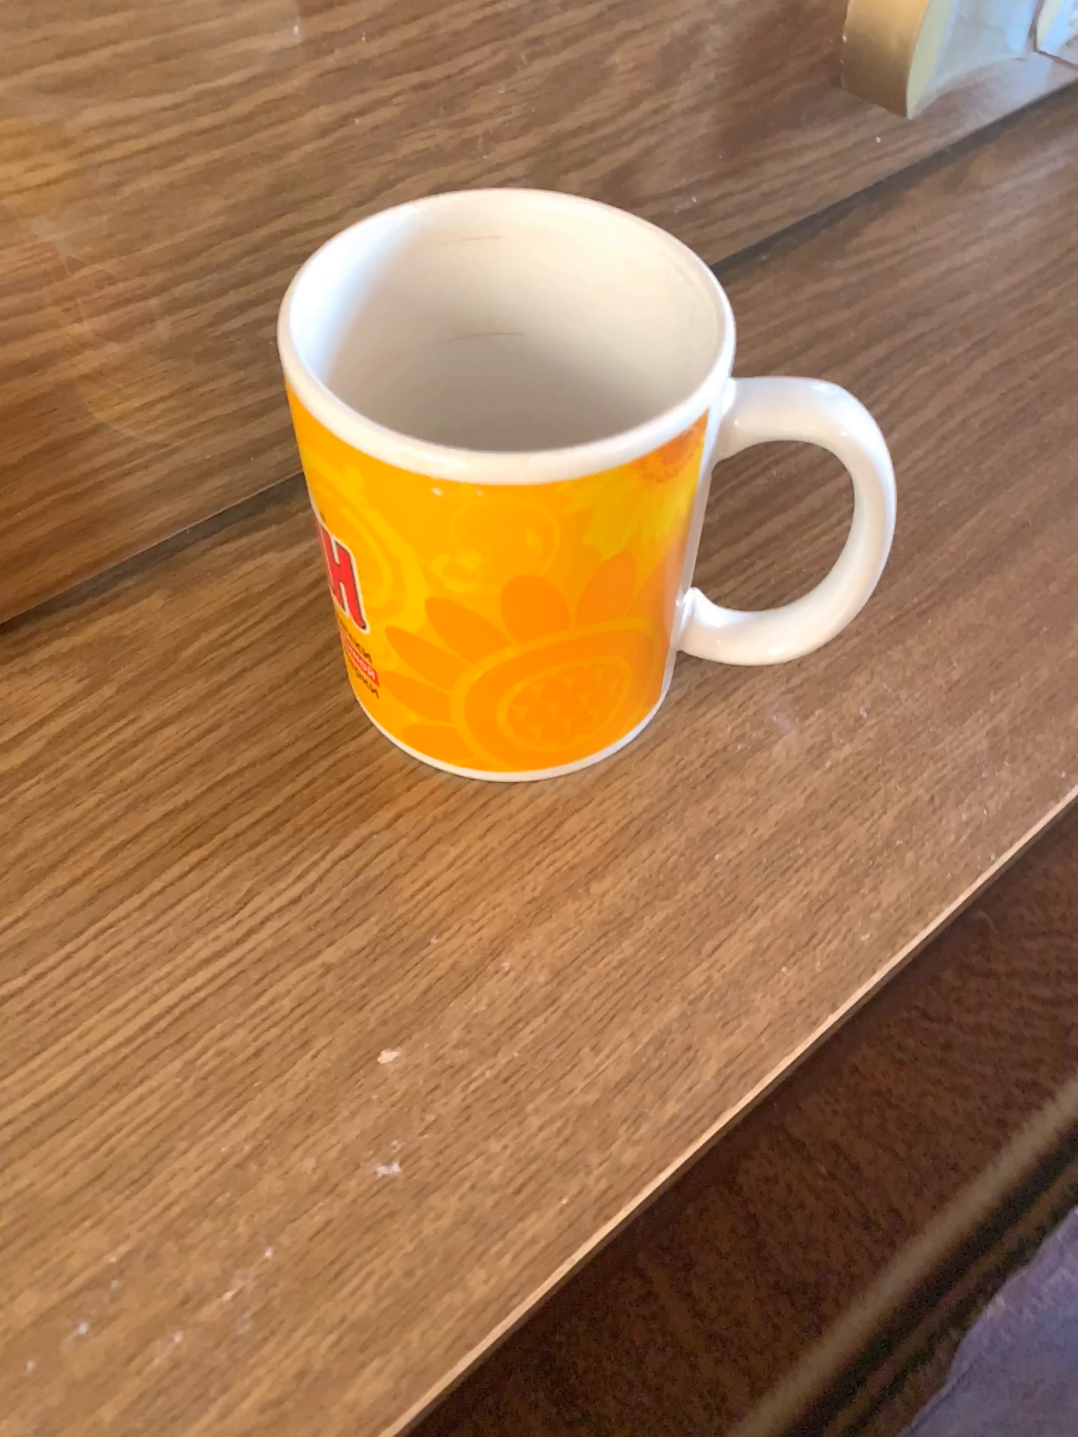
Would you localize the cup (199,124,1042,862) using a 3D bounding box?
[{"bbox_3d":[0.016,-0.043,0.228,0.123,0.097,0.091,9,55,4],"label":"cup"}]
